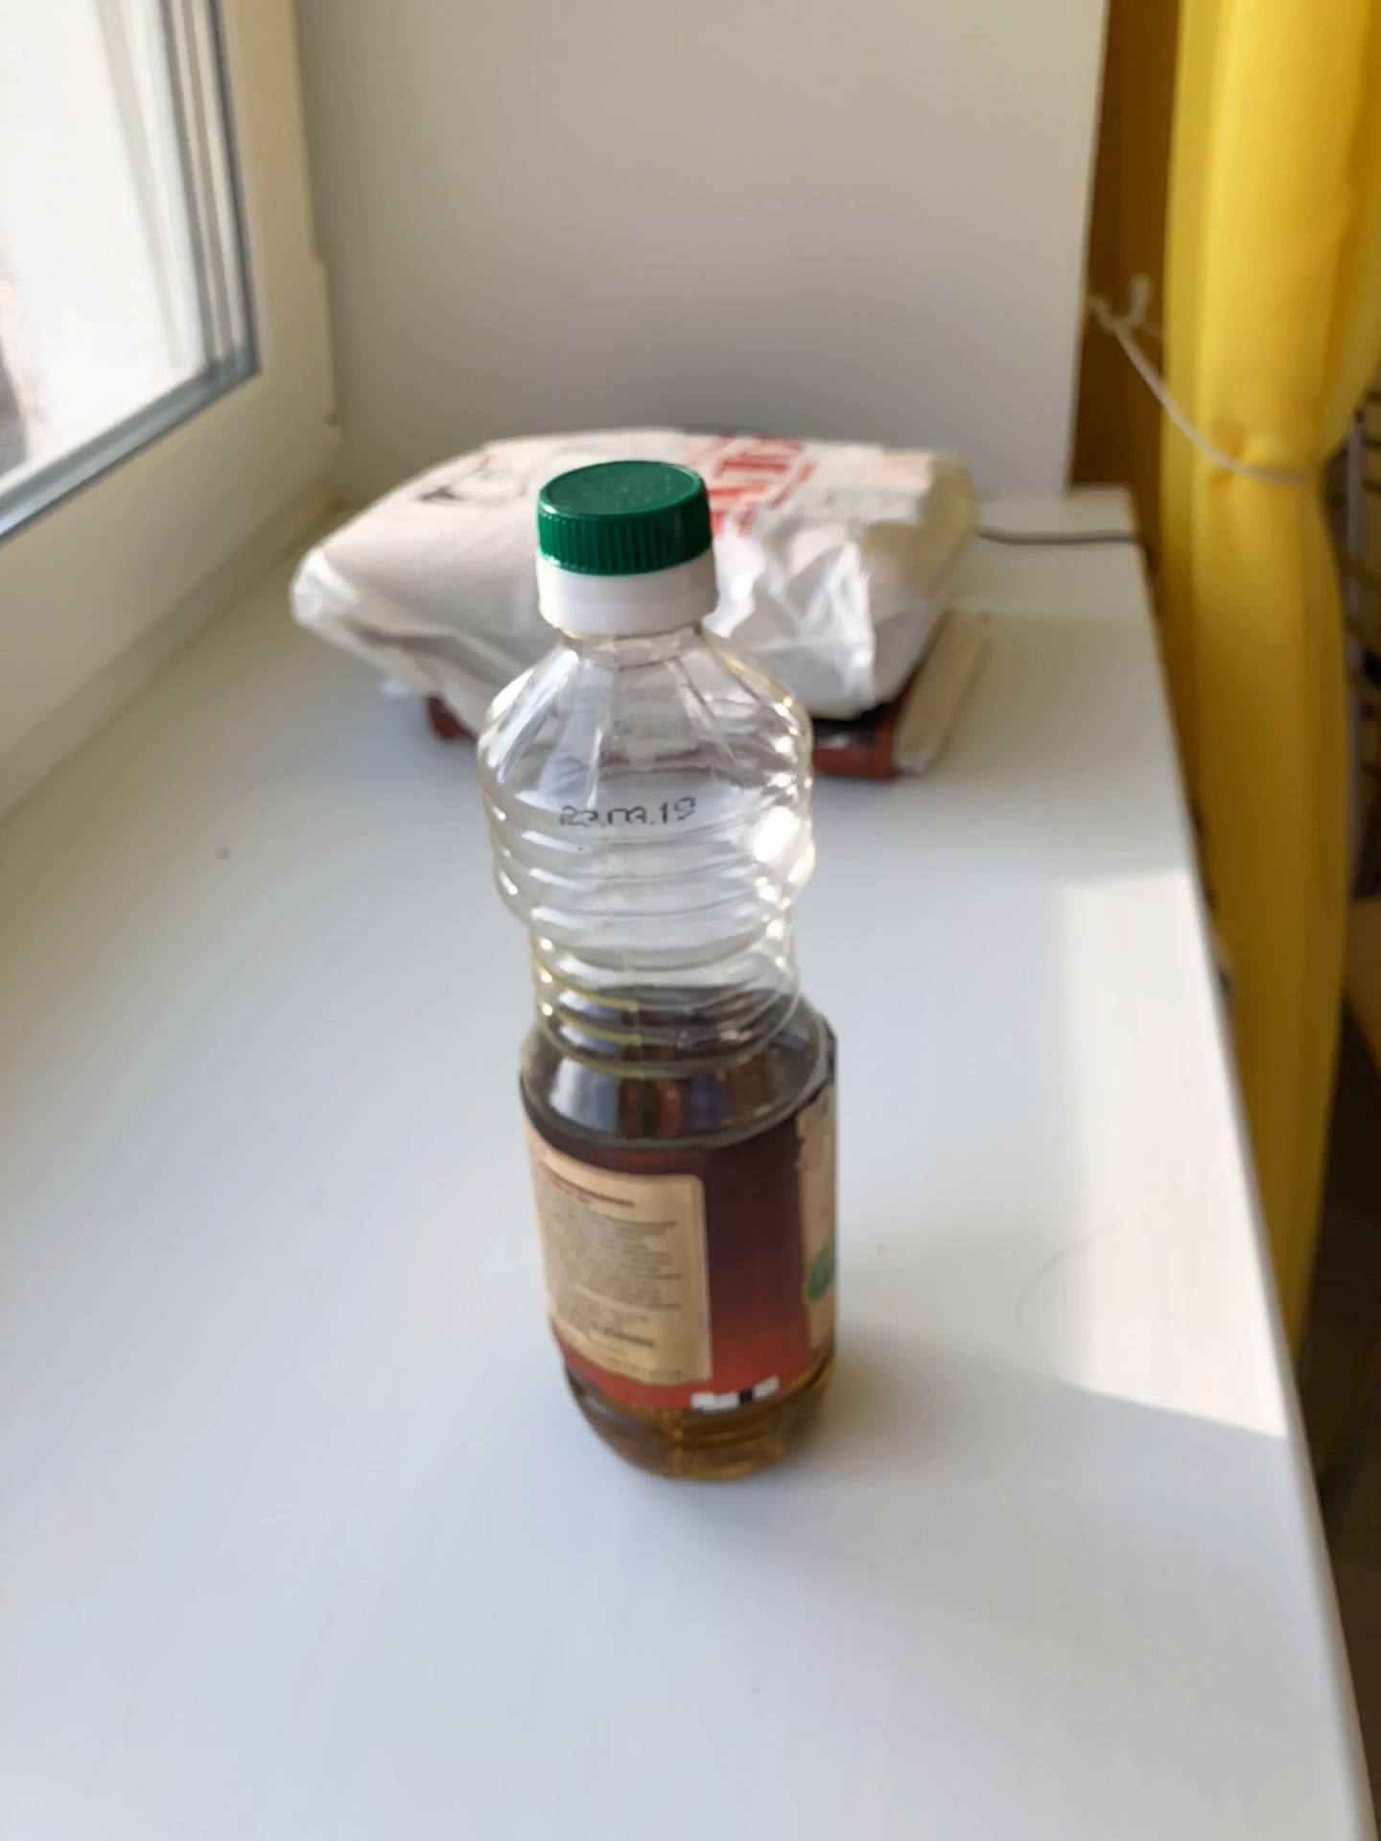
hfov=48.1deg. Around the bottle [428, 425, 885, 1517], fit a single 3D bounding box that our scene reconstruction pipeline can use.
[{"bbox_3d":[-0.003,0.021,0.315,0.067,0.218,0.061,-8,33,-7],"label":"bottle"}]
